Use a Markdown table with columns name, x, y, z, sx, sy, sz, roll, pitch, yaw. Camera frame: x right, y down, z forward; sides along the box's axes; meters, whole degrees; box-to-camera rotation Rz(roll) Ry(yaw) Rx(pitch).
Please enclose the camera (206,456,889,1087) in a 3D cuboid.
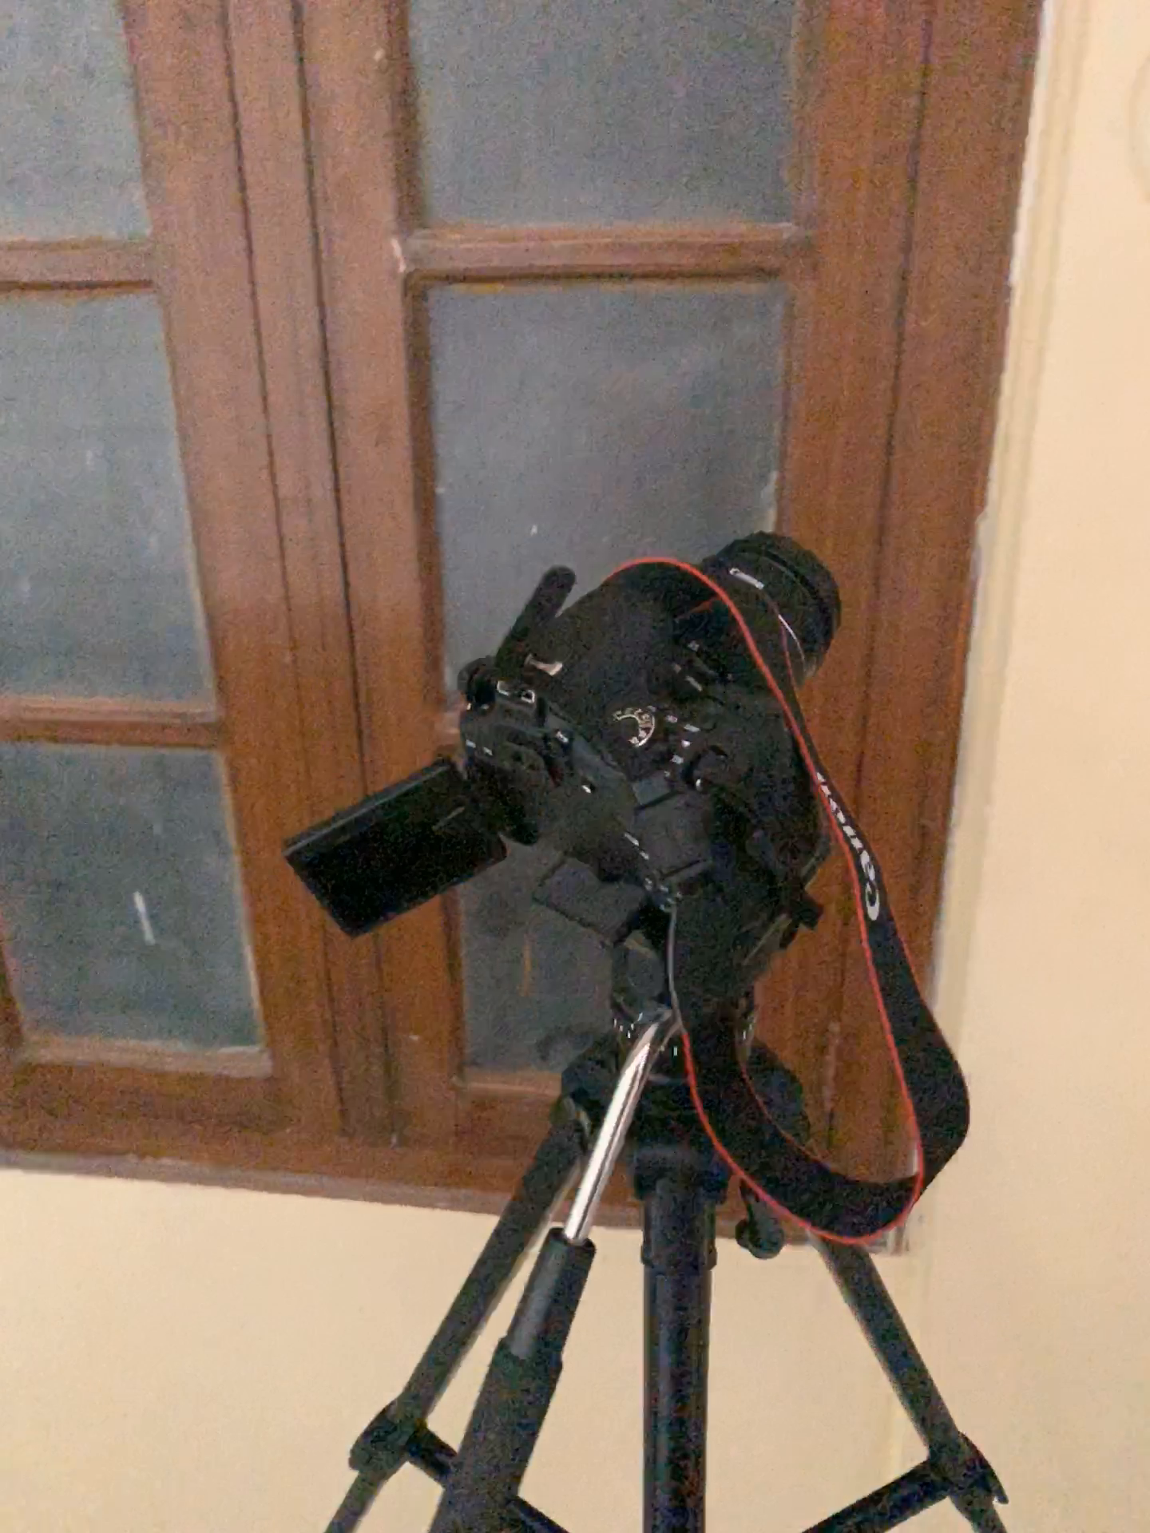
| name | x | y | z | sx | sy | sz | roll | pitch | yaw |
| --- | --- | --- | --- | --- | --- | --- | --- | --- | --- |
| camera | 0.000 | -0.016 | 0.474 | 0.142 | 0.099 | 0.226 | 19 | 53 | 39 |
